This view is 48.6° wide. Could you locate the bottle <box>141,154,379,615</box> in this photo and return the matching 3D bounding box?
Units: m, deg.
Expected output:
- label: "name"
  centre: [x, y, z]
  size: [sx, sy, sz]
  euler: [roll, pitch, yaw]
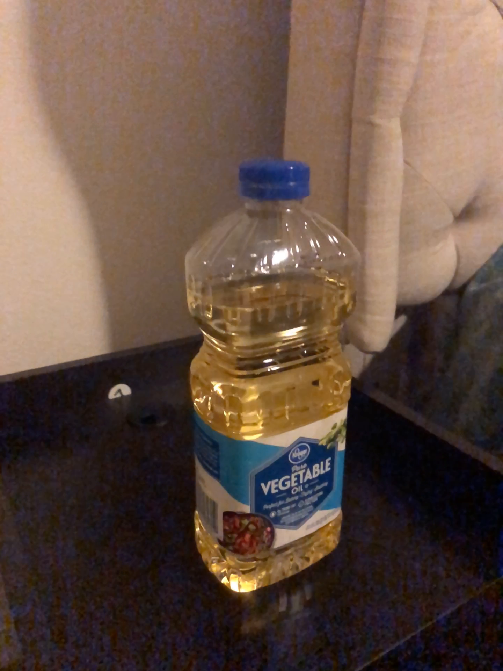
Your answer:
- label: "bottle"
  centre: [0.003, 0.028, 0.371]
  size: [0.110, 0.276, 0.084]
  euler: [-13, 24, -30]
